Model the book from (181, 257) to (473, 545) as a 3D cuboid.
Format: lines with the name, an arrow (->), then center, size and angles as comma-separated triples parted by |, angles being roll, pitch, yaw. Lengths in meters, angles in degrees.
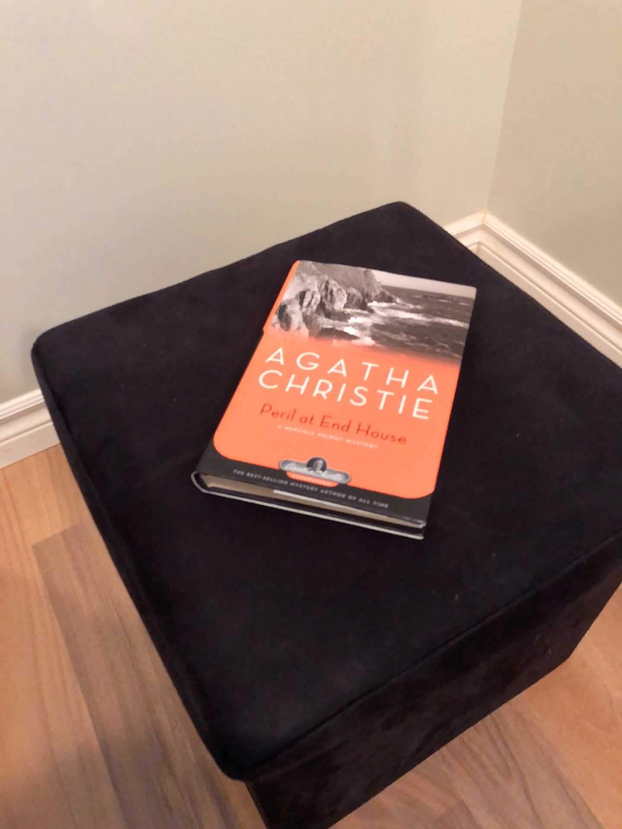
book -> 0.022, -0.023, 0.463 | 0.146, 0.030, 0.207 | 11, 51, 12
